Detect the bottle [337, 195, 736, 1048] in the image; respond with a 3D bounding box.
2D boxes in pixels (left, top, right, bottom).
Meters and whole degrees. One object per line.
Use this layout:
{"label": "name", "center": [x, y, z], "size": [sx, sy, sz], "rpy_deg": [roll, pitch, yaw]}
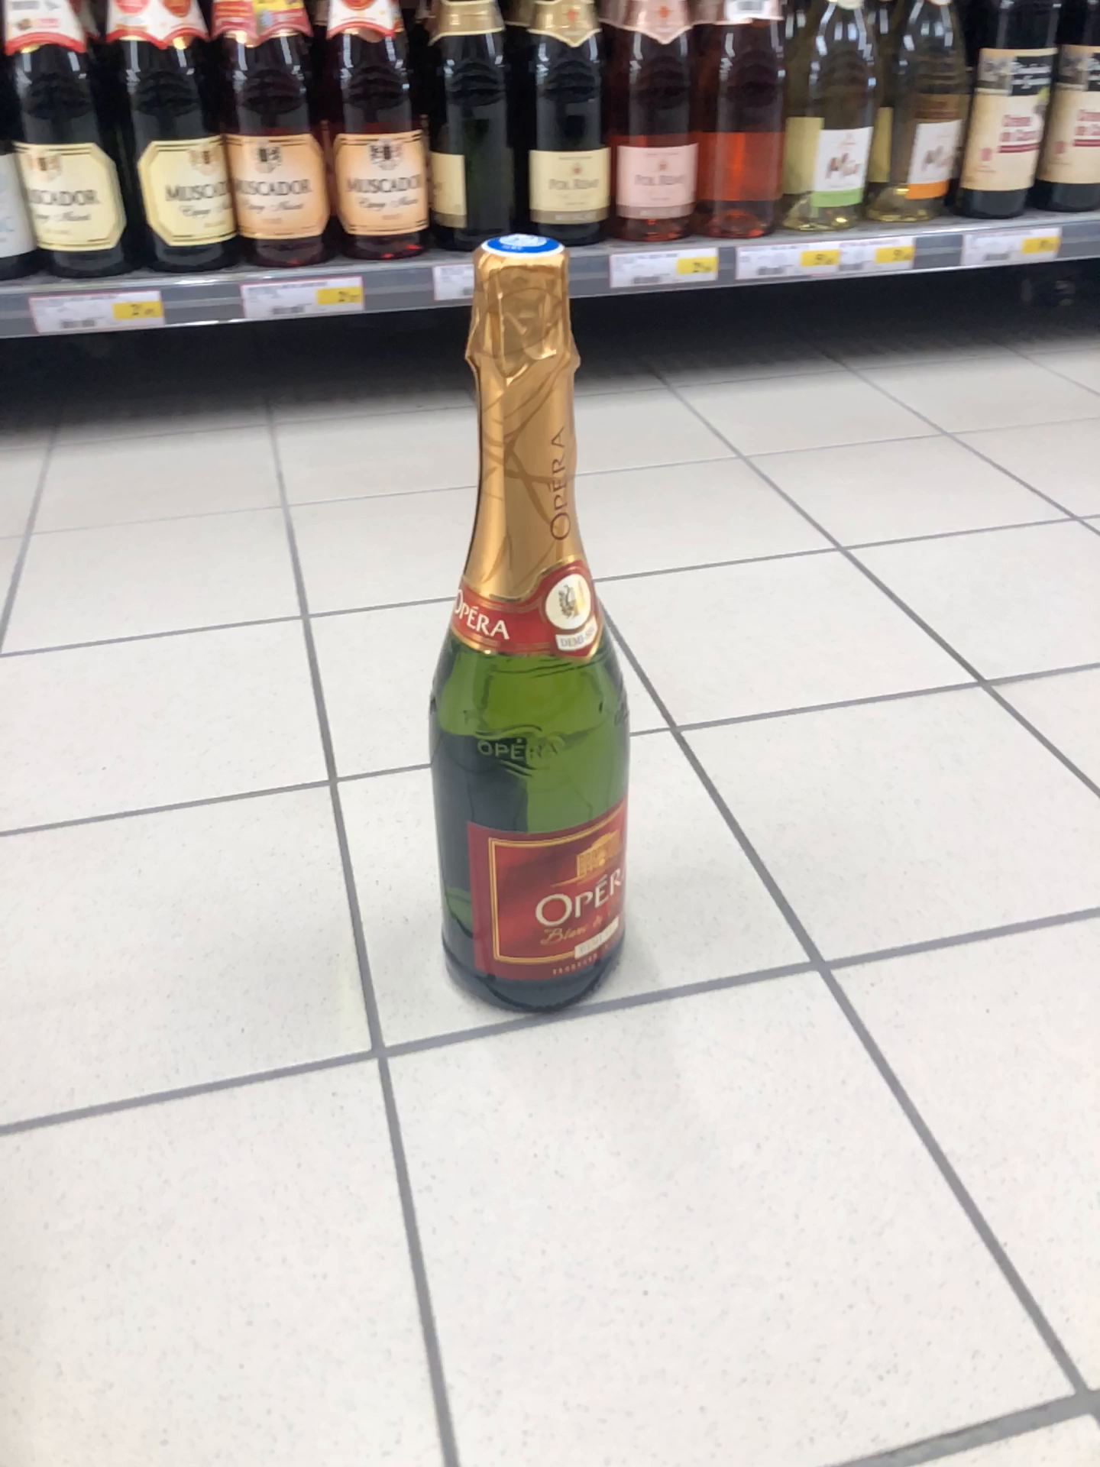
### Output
{"label": "bottle", "center": [-0.003, -0.034, 0.460], "size": [0.090, 0.298, 0.090], "rpy_deg": [-1, 32, 0]}
